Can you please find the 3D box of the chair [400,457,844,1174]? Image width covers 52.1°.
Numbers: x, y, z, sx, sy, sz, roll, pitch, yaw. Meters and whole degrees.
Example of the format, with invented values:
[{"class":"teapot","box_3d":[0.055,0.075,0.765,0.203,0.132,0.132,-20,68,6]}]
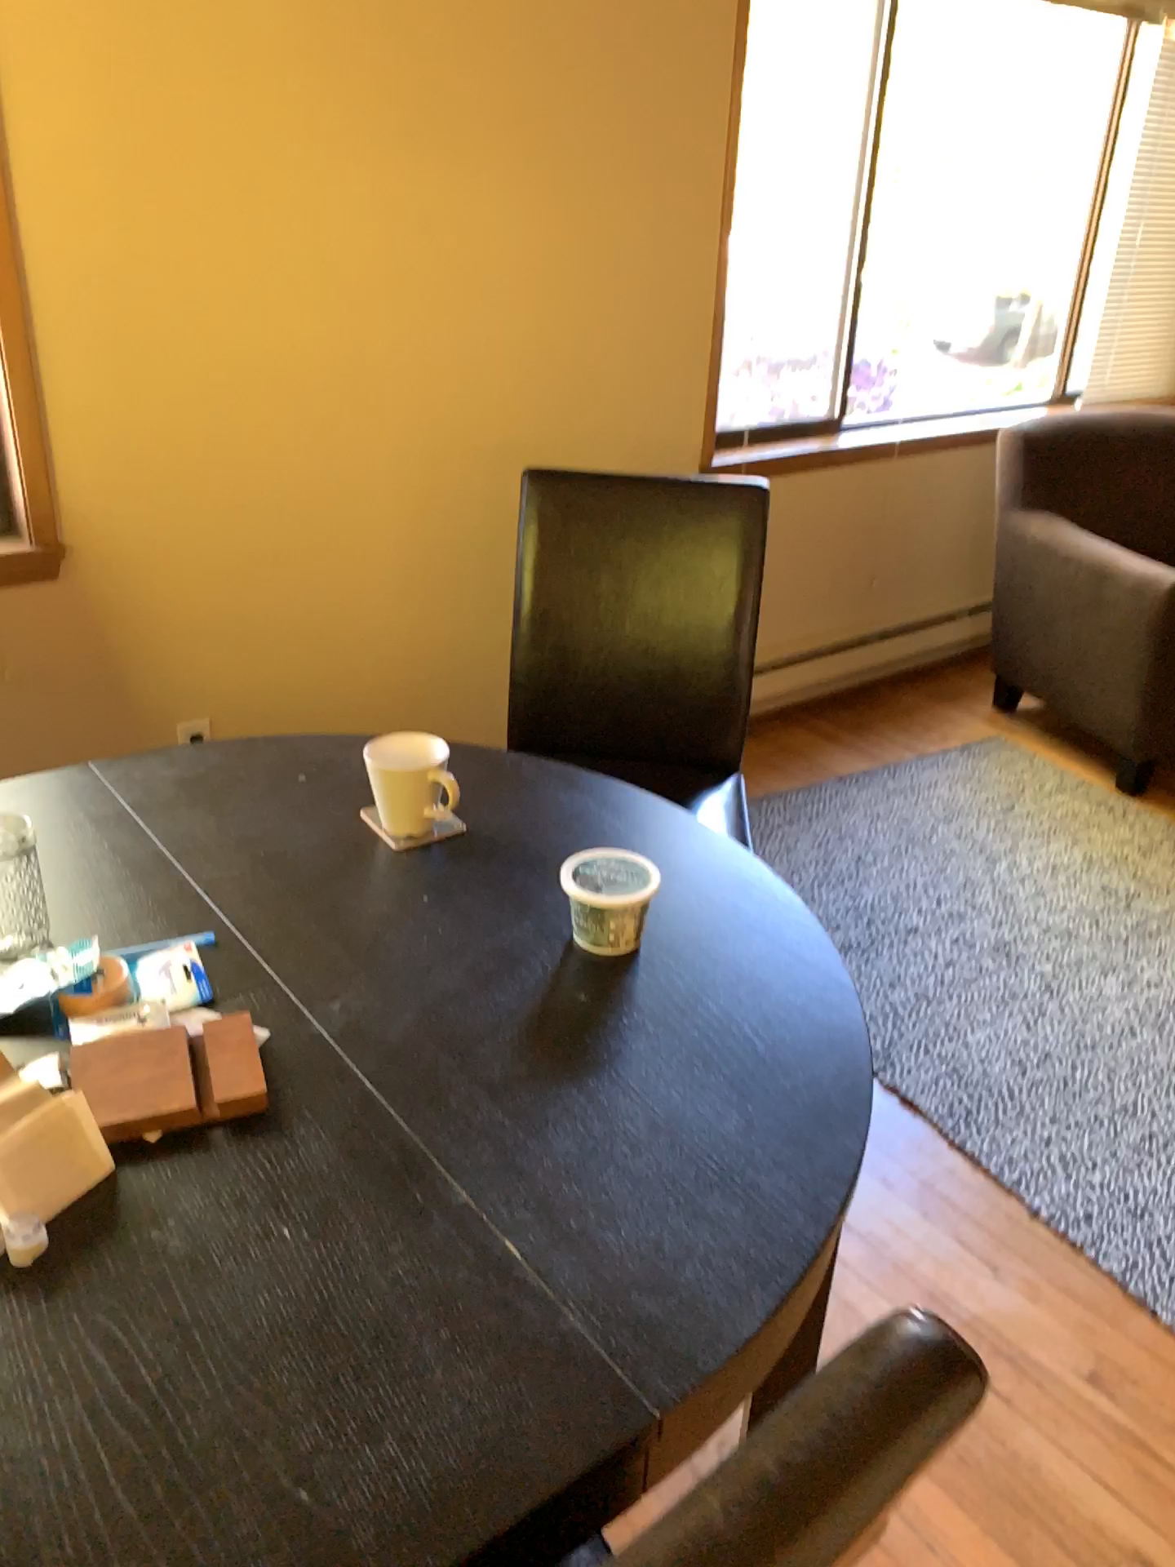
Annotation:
[{"class":"chair","box_3d":[0.049,0.038,2.204,0.620,1.084,0.654,5,26,3]}]
